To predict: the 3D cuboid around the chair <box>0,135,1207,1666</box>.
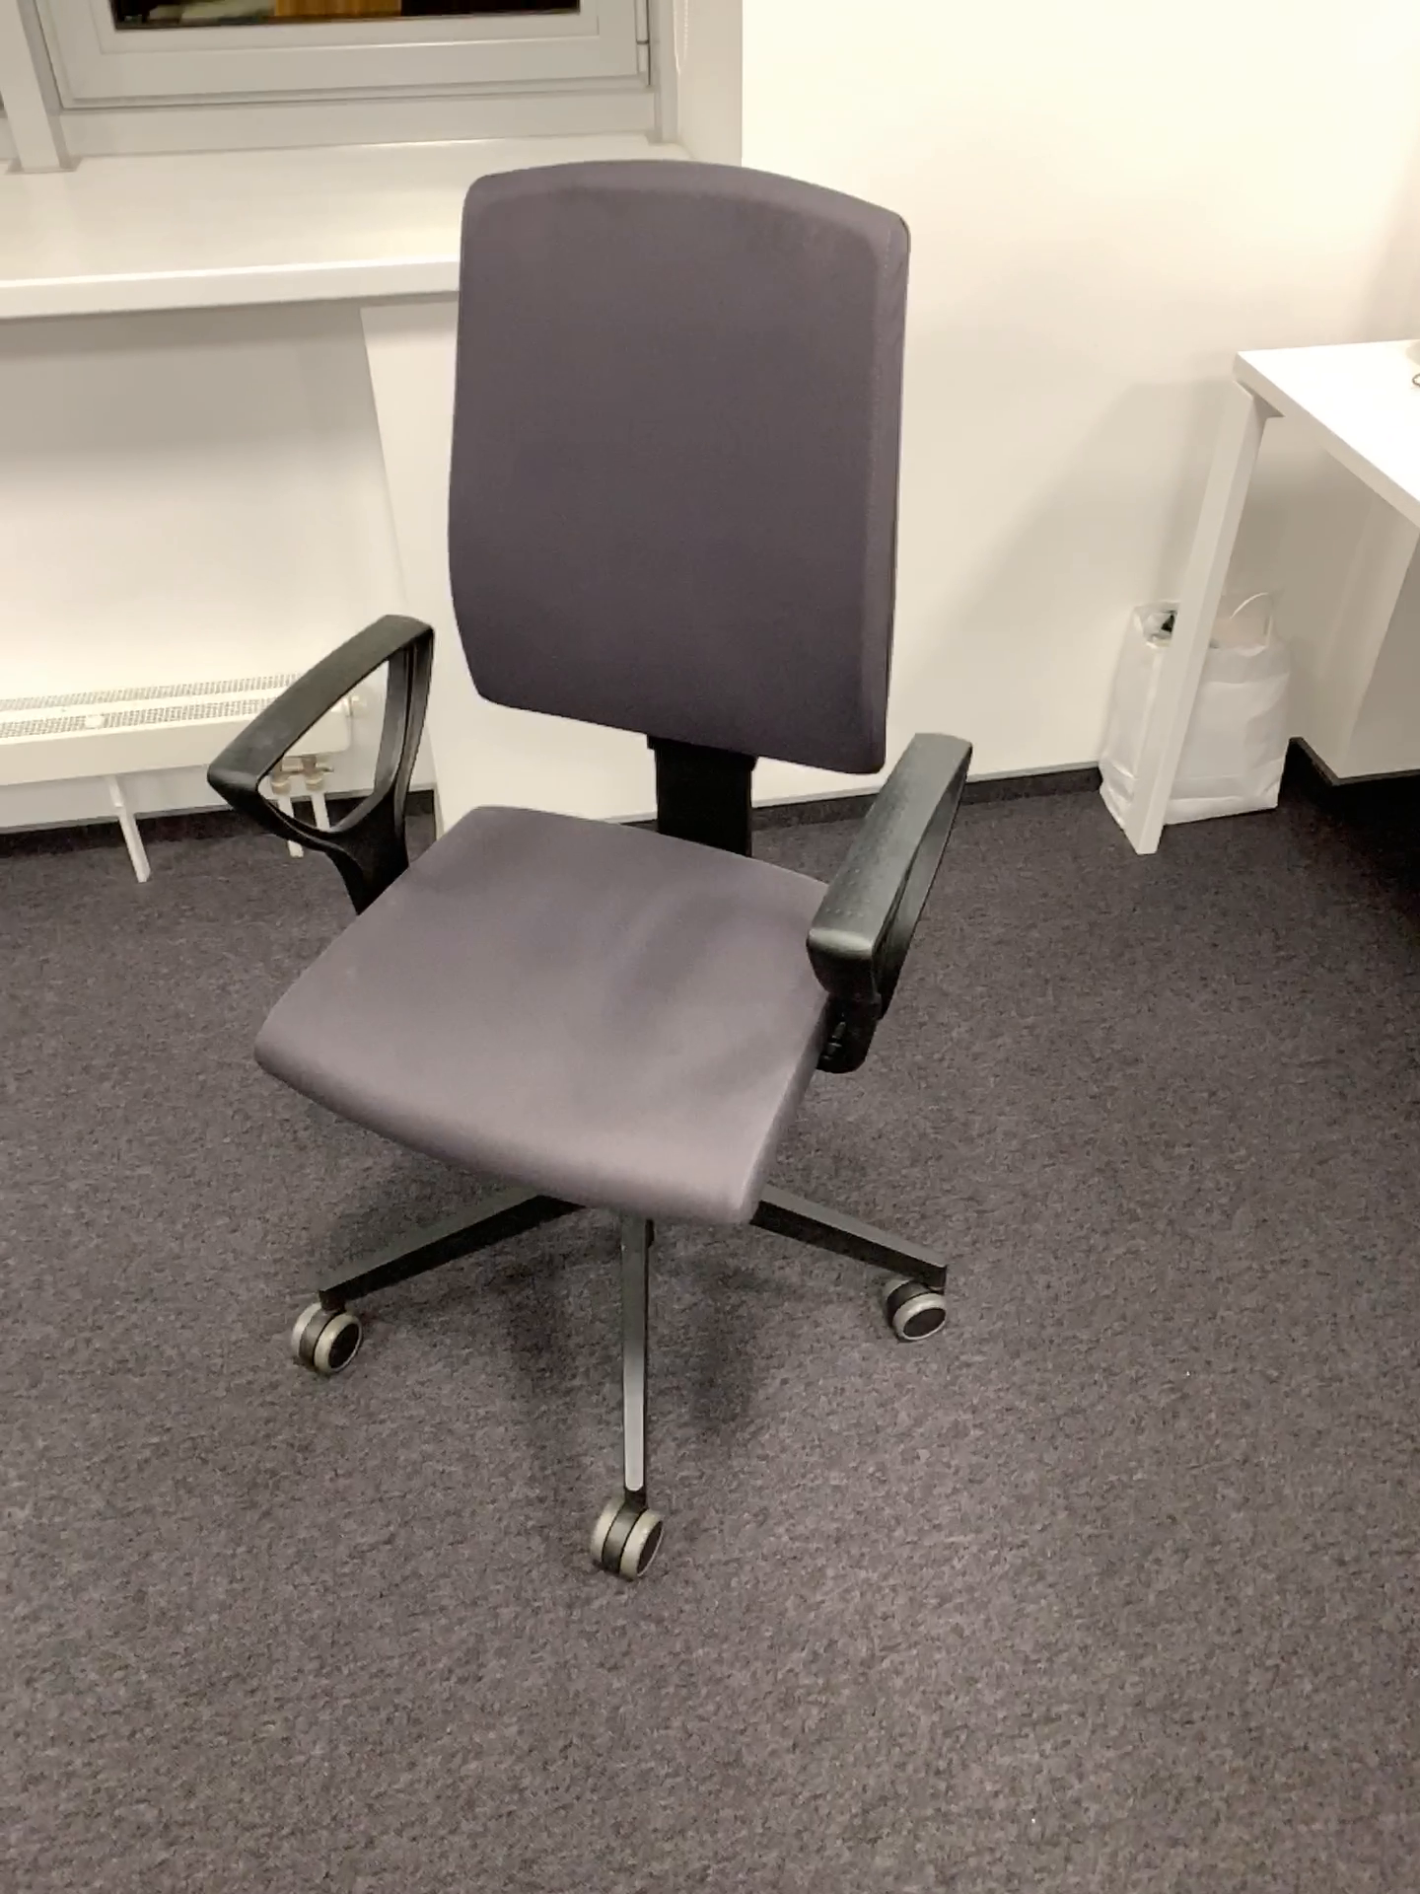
[{"bbox_3d":[-0.067,-0.059,1.344,0.701,1.044,0.753,15,43,17],"label":"chair"}]
